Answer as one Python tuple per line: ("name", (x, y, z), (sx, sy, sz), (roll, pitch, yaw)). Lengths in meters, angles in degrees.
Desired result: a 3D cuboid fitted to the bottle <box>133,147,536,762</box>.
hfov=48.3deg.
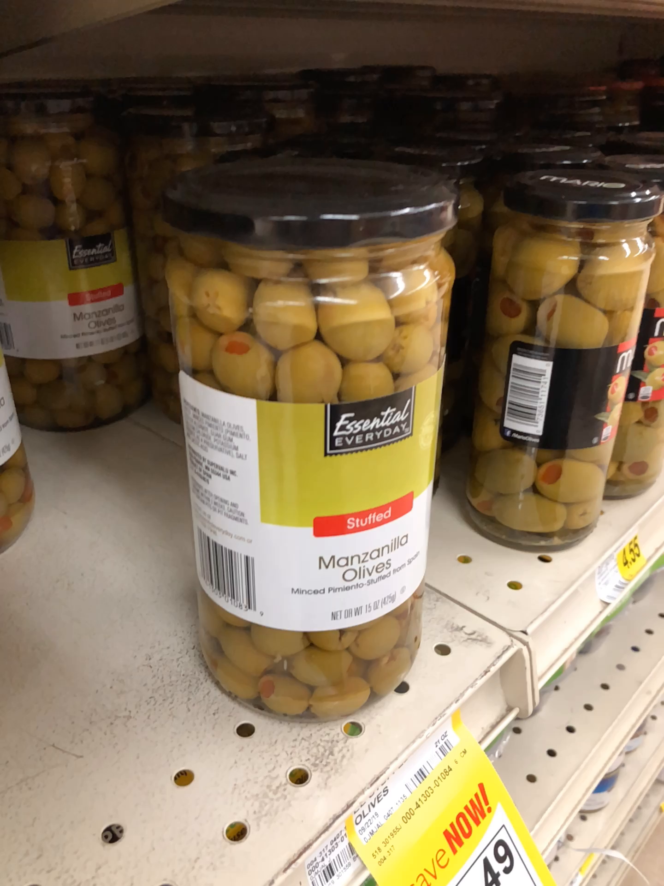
("bottle", (-0.004, 0.002, 0.229), (0.080, 0.163, 0.070), (-13, 32, -24))
